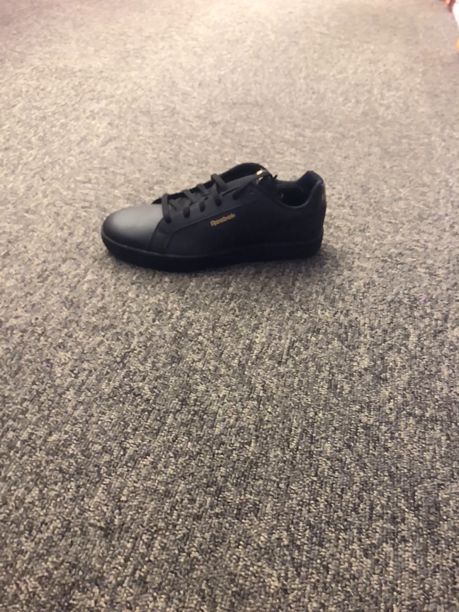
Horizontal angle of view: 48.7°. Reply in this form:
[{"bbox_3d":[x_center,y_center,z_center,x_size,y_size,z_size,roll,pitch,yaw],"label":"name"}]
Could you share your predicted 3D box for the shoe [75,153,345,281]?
[{"bbox_3d":[-0.020,-0.099,0.554,0.260,0.089,0.099,-3,42,-4],"label":"shoe"}]
